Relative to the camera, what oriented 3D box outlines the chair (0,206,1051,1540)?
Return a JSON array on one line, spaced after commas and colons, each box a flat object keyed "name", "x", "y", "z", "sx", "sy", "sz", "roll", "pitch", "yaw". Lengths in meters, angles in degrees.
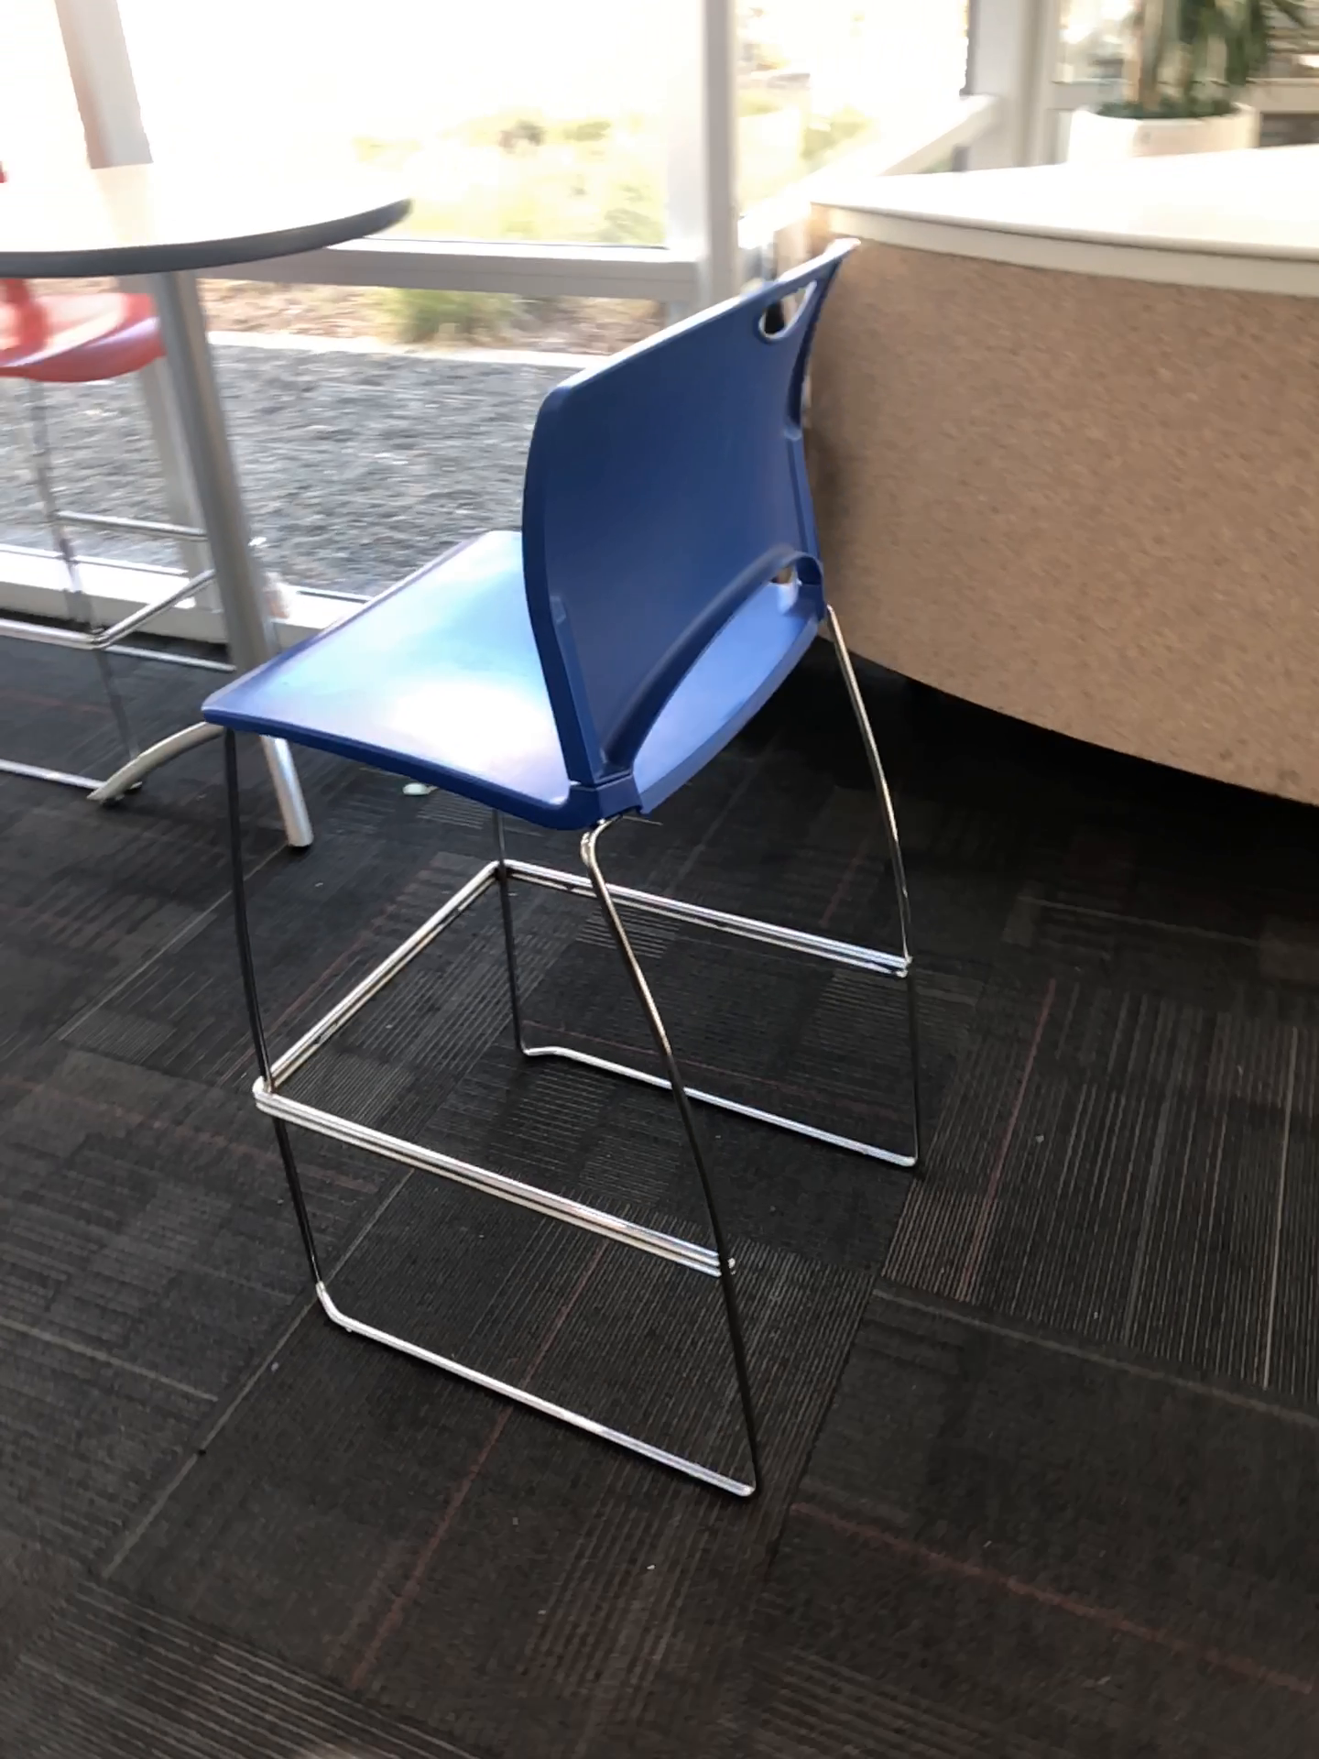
[{"name": "chair", "x": -0.064, "y": -0.039, "z": 1.328, "sx": 0.611, "sy": 0.965, "sz": 0.552, "roll": 13, "pitch": 36, "yaw": 25}]
